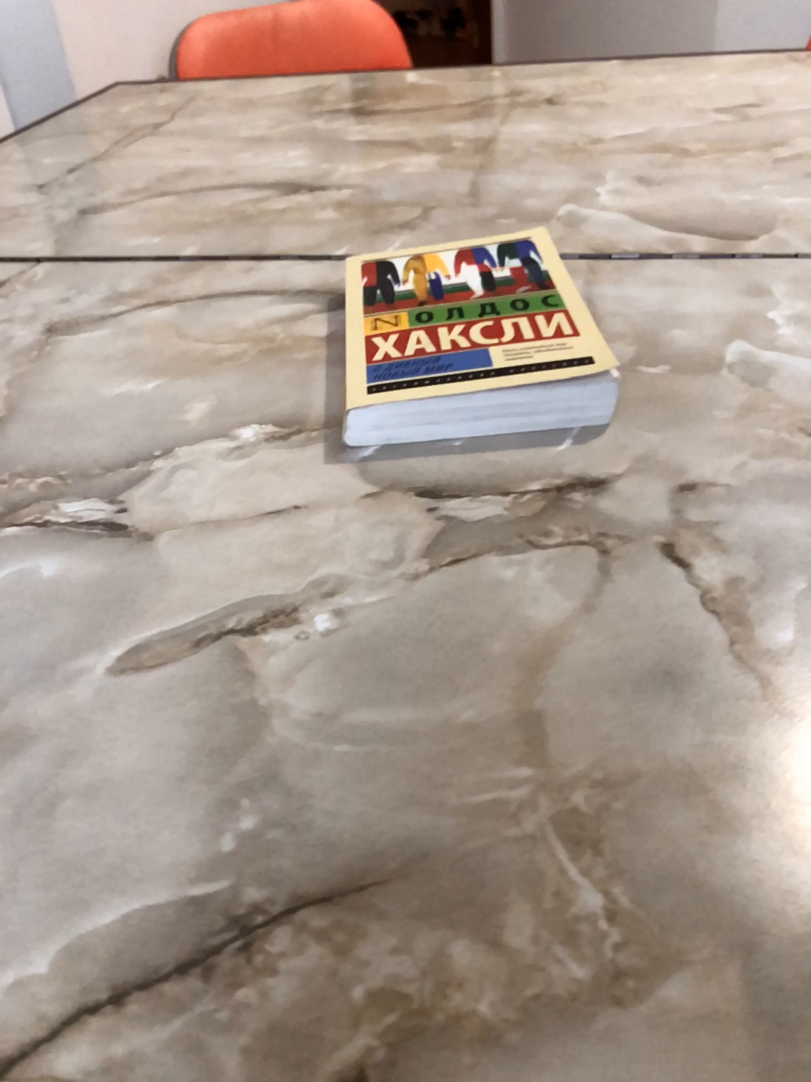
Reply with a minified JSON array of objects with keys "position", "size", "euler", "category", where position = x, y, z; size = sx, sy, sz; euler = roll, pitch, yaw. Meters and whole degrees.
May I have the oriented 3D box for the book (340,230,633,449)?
[{"position":[0.028,-0.108,0.446],"size":[0.120,0.020,0.185],"euler":[-6,37,0],"category":"book"}]
